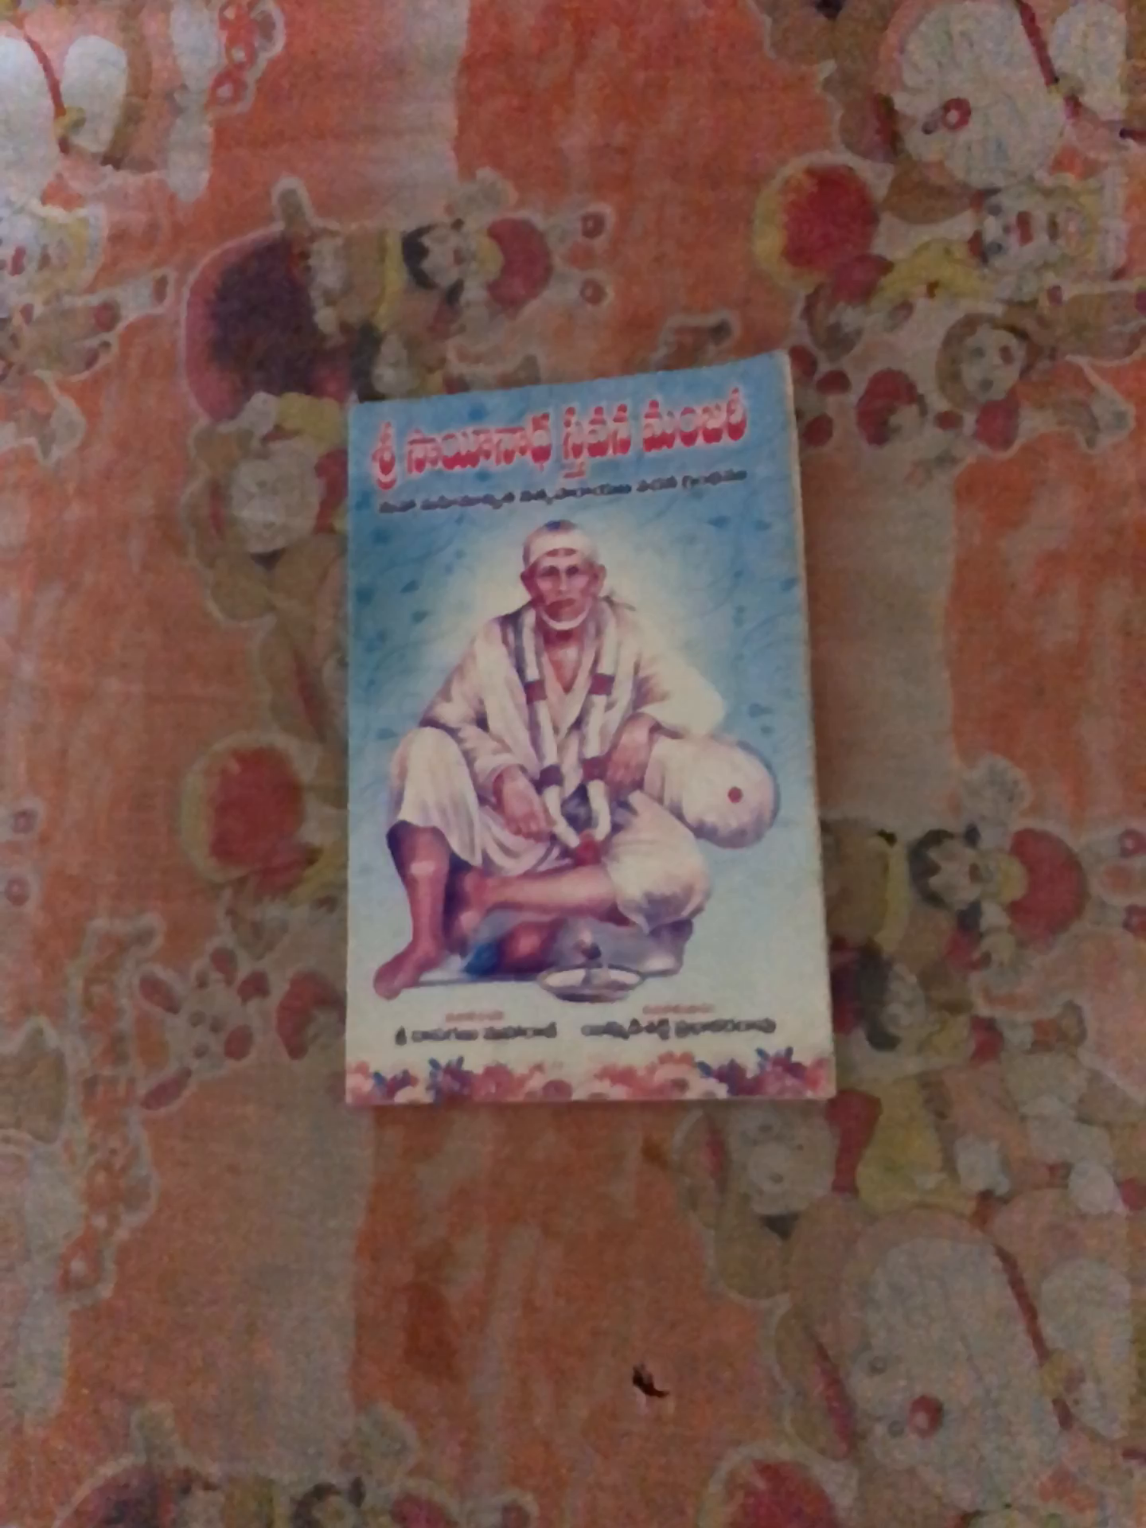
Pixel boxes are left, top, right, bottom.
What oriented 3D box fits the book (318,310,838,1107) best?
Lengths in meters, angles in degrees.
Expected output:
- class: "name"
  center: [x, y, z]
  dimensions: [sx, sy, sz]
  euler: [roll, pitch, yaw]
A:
- class: "book"
  center: [-0.002, -0.016, 0.369]
  dimensions: [0.140, 0.020, 0.220]
  euler: [-2, 82, 6]
